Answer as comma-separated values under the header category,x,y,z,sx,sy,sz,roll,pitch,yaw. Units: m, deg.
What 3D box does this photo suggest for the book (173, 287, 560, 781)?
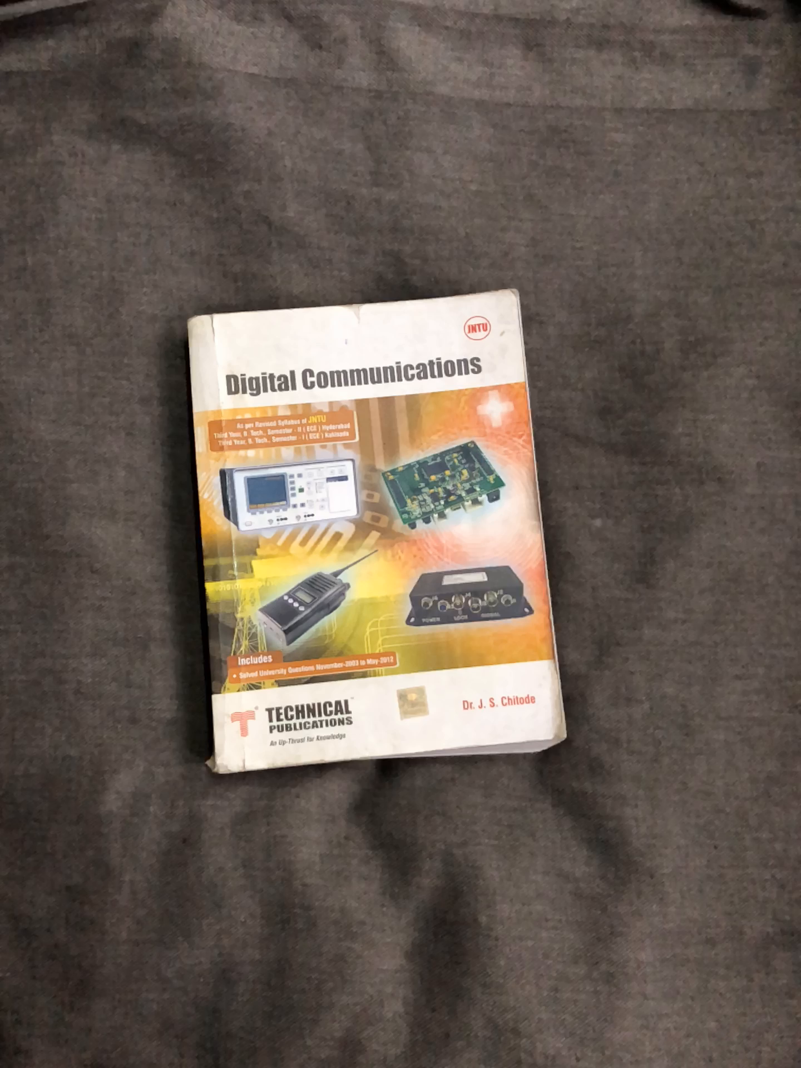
category,x,y,z,sx,sy,sz,roll,pitch,yaw
book,-0.020,-0.001,0.479,0.181,0.050,0.241,-4,84,0
